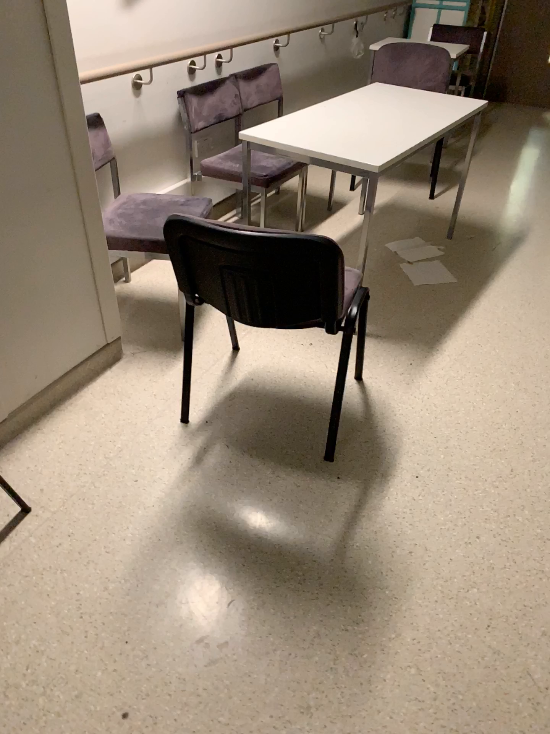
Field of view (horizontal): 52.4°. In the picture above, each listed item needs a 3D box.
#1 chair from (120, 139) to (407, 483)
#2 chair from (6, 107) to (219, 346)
[{"bbox_3d":[-0.003,-0.195,1.726,0.601,0.752,0.605,13,39,14],"label":"chair"},{"bbox_3d":[-0.567,-0.556,2.200,0.560,0.723,0.505,7,37,7],"label":"chair"}]
